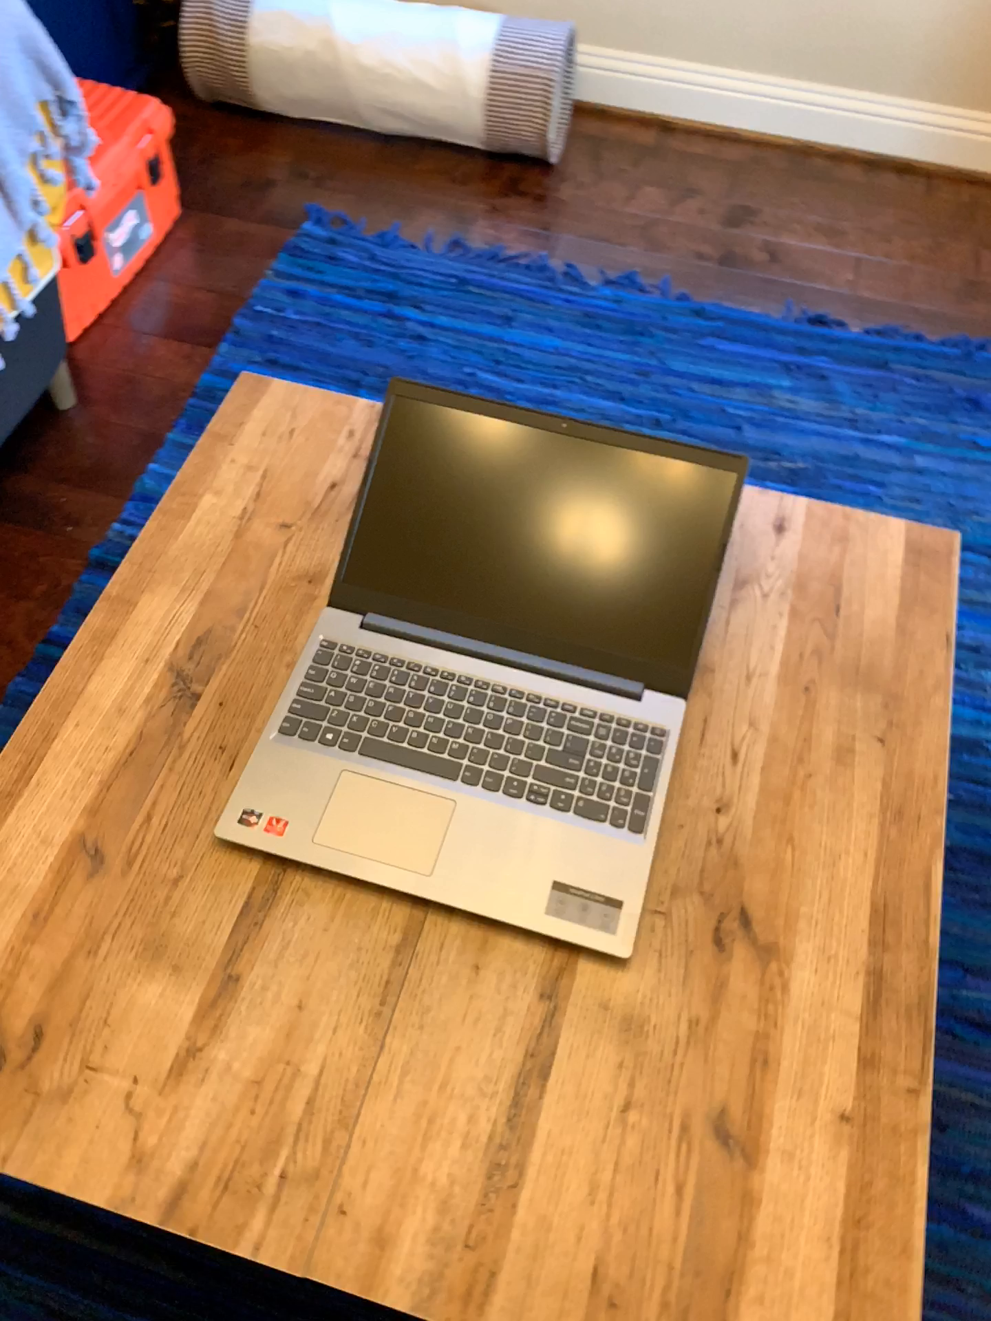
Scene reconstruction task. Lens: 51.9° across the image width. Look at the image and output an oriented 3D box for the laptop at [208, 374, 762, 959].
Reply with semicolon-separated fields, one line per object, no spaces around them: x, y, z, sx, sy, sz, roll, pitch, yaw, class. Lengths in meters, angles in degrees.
0.013;-0.022;0.909;0.346;0.099;0.462;15;61;9;laptop
